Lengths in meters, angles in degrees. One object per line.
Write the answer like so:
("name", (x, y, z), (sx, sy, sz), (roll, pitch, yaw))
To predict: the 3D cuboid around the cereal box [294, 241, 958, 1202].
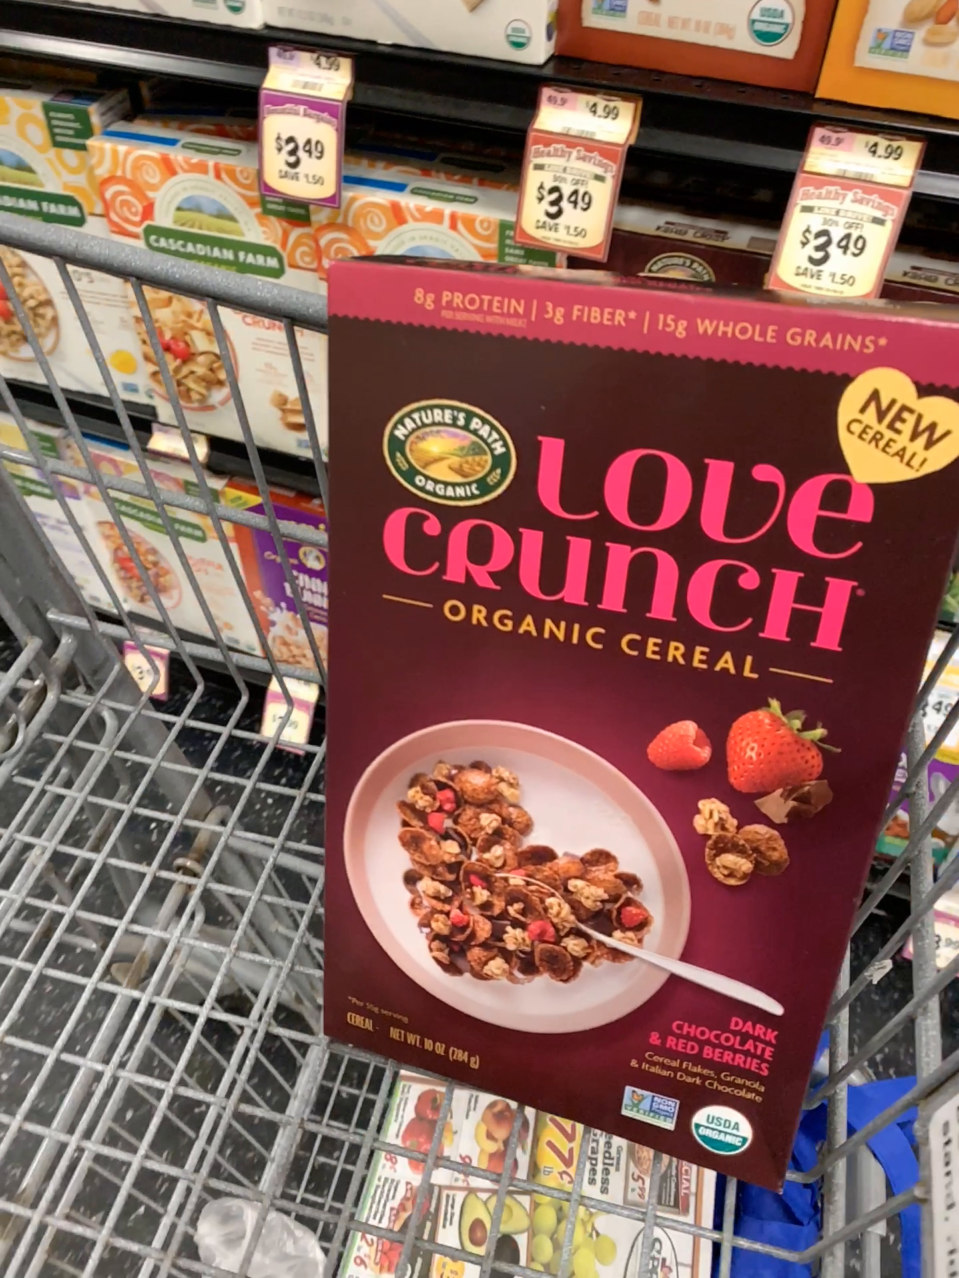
("cereal box", (0.033, 0.027, 0.286), (0.160, 0.249, 0.060), (12, 26, 16))
